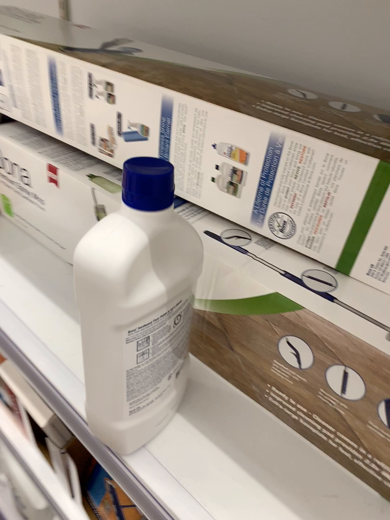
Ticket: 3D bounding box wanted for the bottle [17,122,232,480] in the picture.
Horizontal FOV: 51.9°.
[{"bbox_3d":[-0.049,0.041,0.322,0.070,0.259,0.120,24,38,23],"label":"bottle"}]
